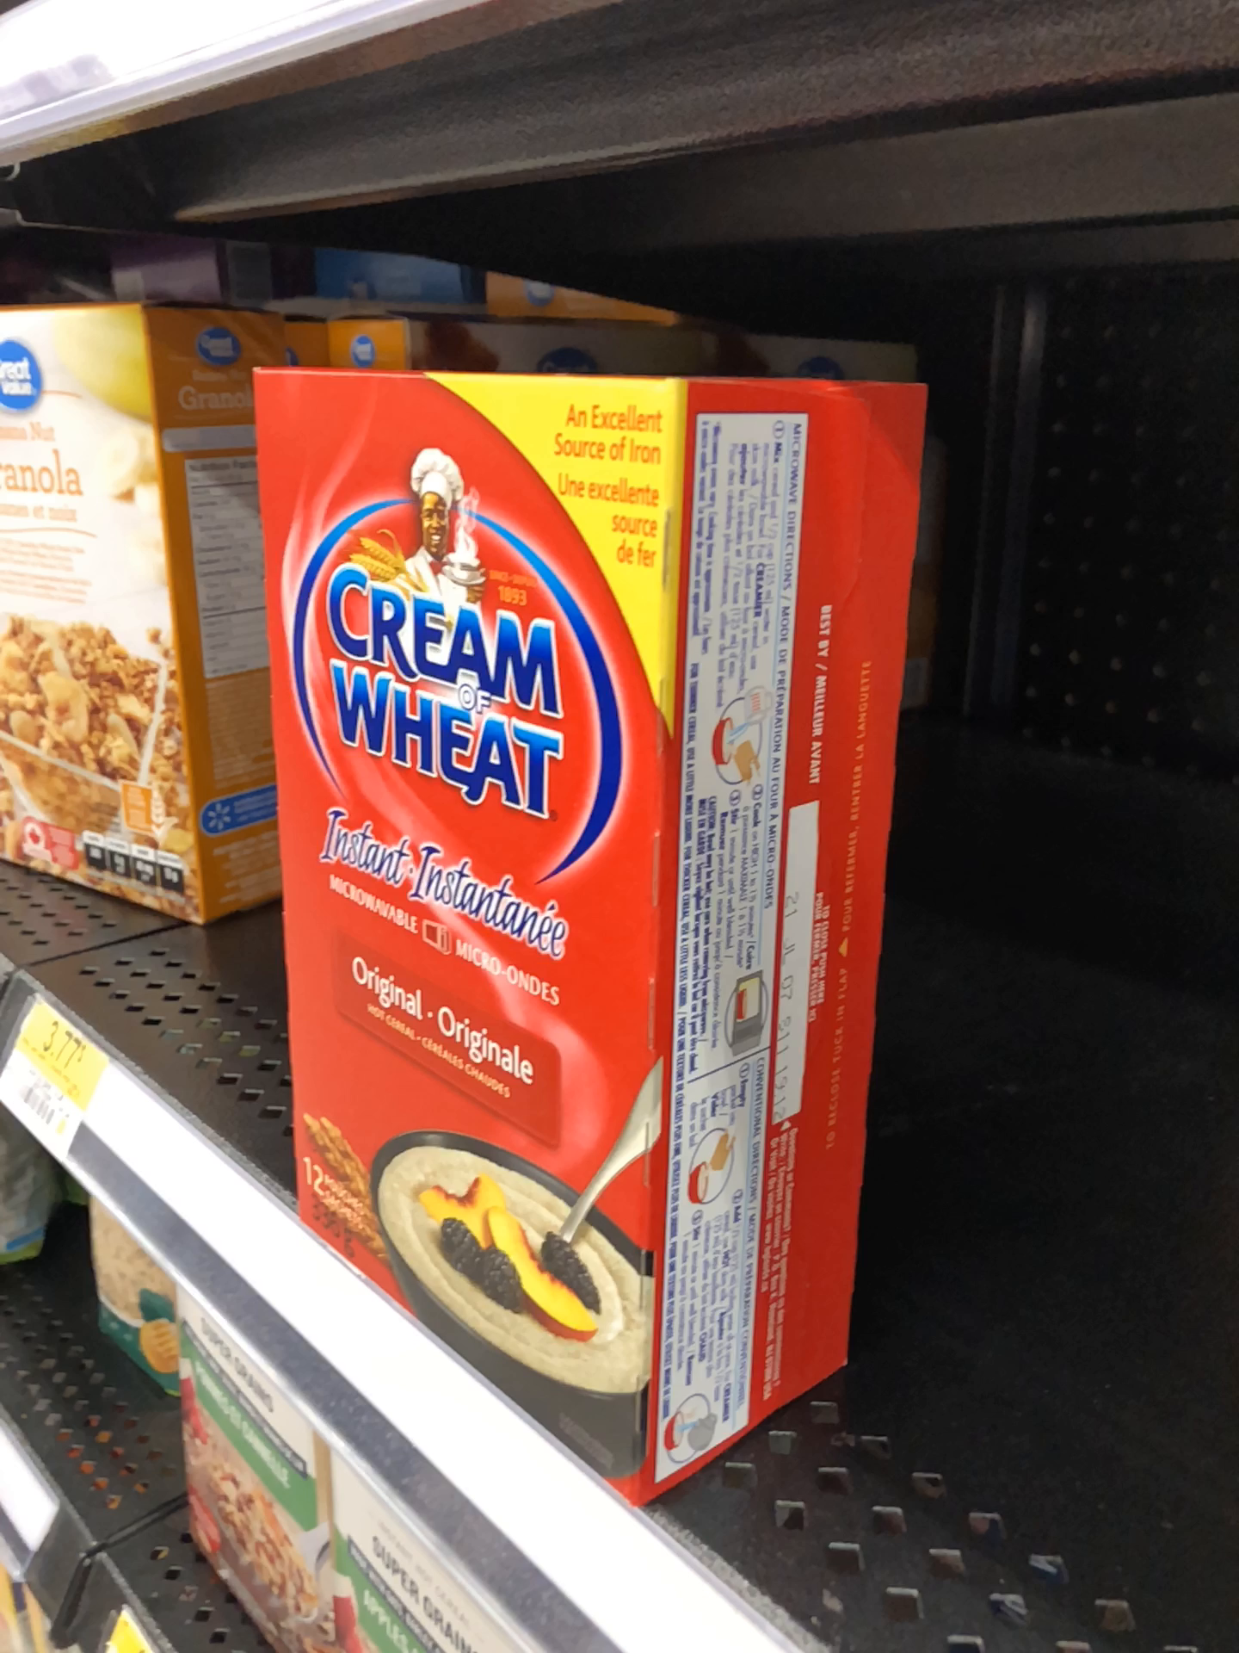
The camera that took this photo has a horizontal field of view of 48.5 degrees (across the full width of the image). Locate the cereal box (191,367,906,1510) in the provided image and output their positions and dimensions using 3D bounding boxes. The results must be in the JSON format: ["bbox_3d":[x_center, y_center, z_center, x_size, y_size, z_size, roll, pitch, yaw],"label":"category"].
[{"bbox_3d":[-0.020,0.008,0.277,0.060,0.189,0.130,-16,24,-40],"label":"cereal box"}]
